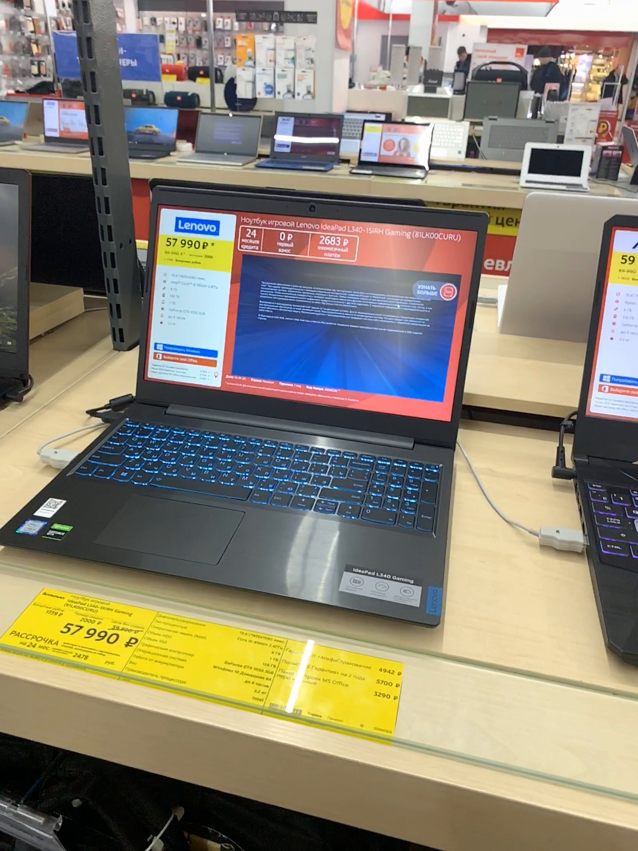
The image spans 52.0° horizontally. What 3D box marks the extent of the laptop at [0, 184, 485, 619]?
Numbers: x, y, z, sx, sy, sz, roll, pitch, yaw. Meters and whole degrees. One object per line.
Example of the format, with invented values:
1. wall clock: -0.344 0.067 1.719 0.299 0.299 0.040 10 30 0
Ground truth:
1. laptop: -0.046 -0.065 0.604 0.357 0.223 0.349 8 29 10
